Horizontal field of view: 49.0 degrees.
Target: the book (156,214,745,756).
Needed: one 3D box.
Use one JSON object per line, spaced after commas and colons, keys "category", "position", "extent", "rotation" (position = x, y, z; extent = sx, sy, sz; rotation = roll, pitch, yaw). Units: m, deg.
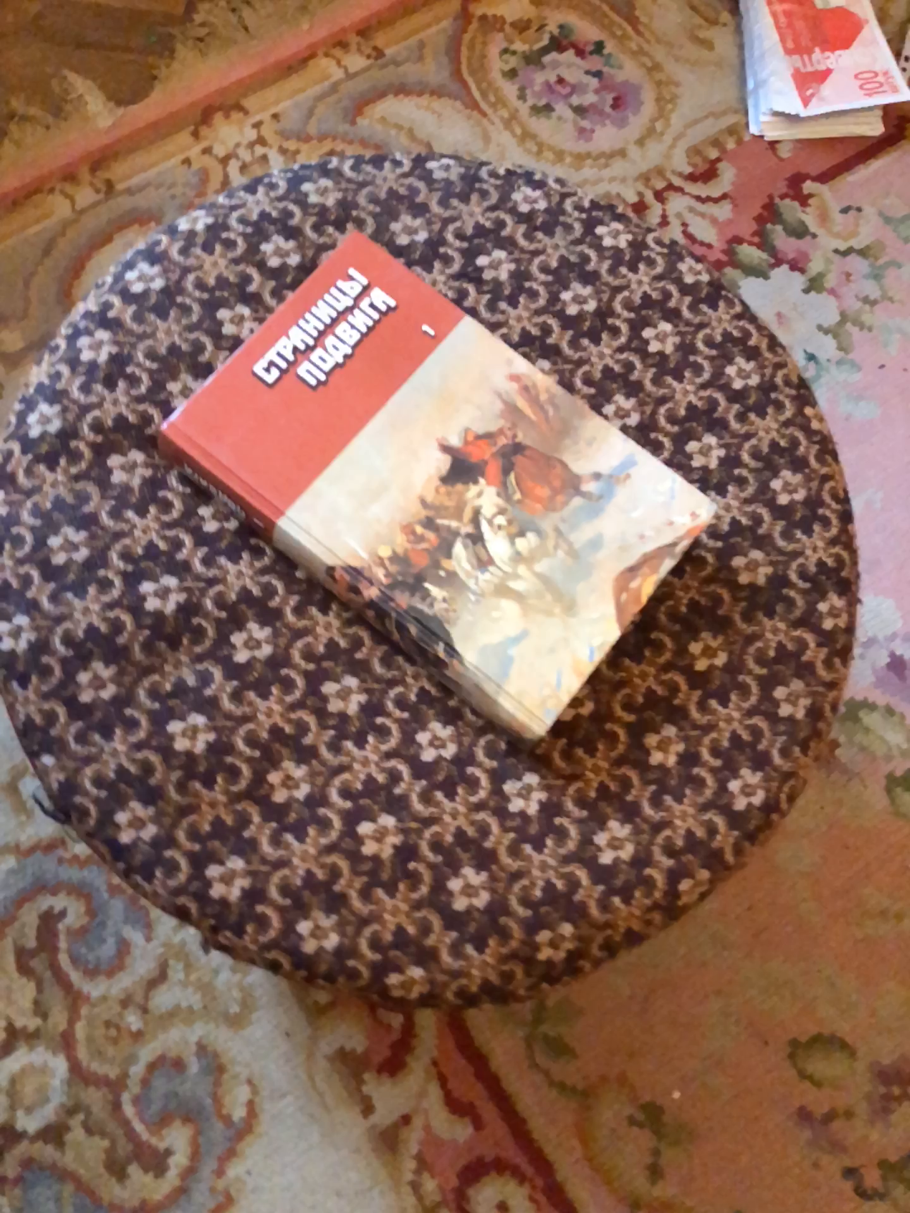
{"category": "book", "position": [-0.002, -0.055, 0.432], "extent": [0.206, 0.040, 0.135], "rotation": [38, 75, 6]}
